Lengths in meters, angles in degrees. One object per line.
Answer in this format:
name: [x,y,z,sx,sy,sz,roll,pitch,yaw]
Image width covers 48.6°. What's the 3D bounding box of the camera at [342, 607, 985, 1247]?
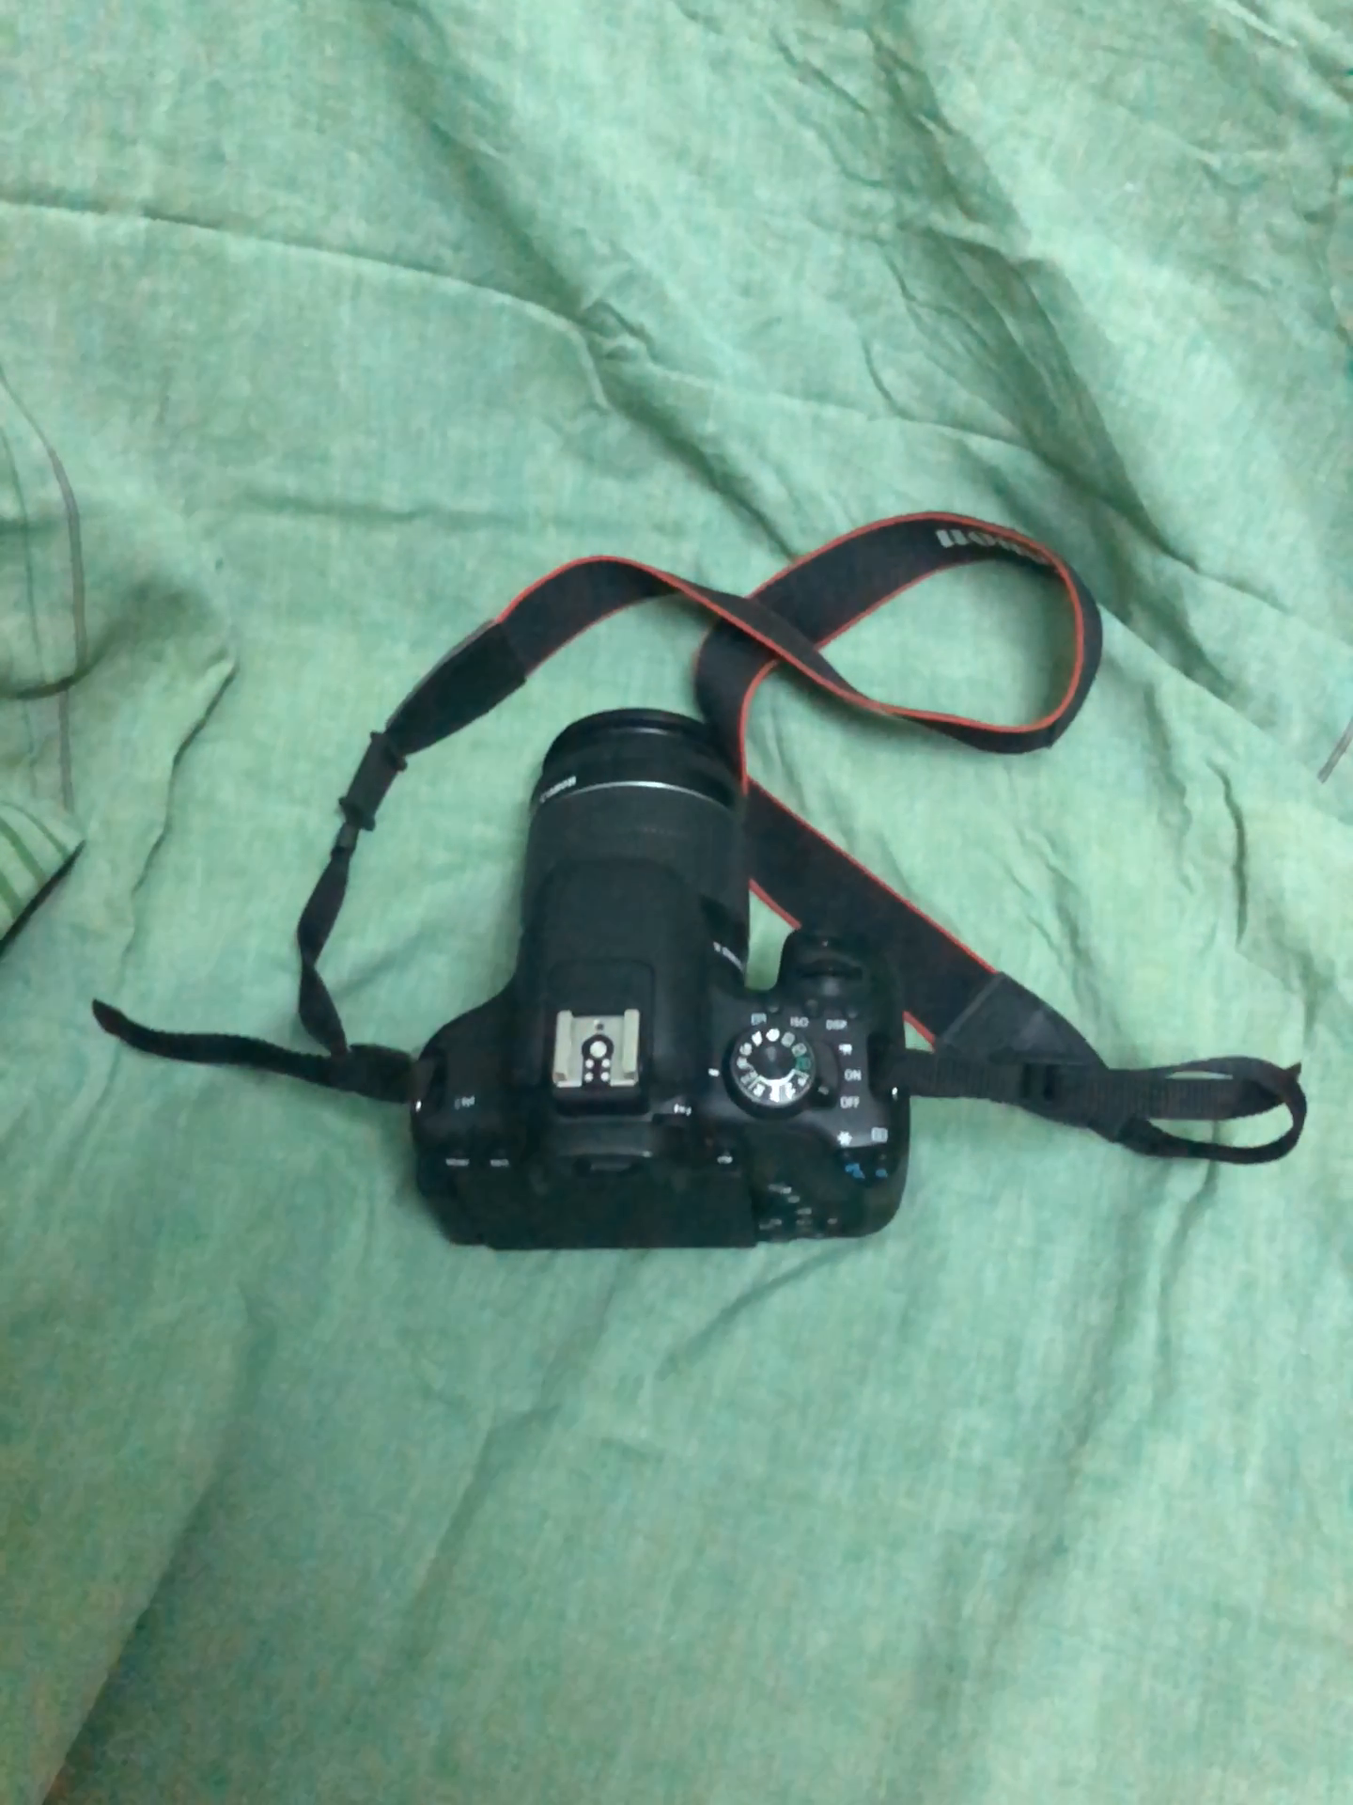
camera: [-0.003,0.009,0.409,0.142,0.100,0.144,0,62,0]
